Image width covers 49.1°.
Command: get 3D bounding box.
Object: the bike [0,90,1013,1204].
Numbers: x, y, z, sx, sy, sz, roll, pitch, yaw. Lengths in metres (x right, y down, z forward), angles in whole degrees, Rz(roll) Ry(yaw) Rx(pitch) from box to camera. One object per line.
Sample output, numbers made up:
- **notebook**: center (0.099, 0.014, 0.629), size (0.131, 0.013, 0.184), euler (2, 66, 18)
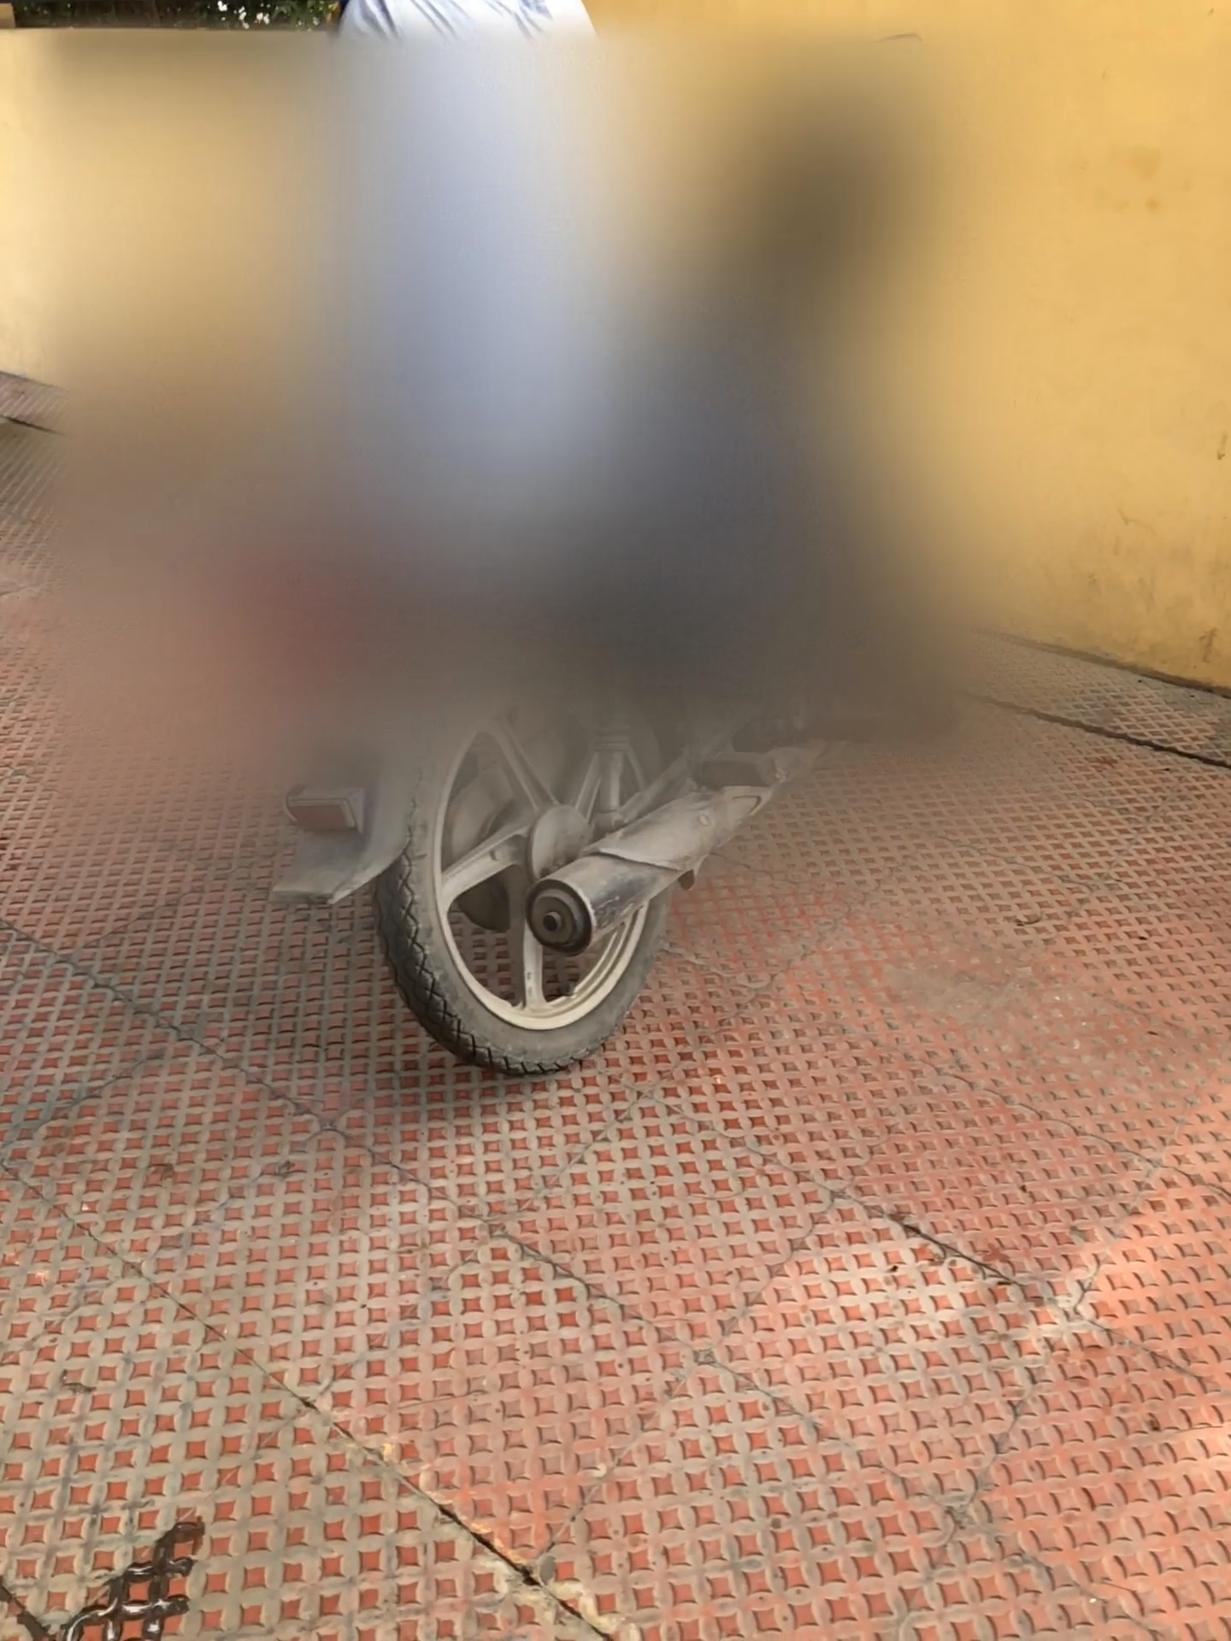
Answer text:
- **bike**: center (-0.049, -0.516, 2.150), size (0.920, 1.007, 1.685), euler (13, 34, 21)
